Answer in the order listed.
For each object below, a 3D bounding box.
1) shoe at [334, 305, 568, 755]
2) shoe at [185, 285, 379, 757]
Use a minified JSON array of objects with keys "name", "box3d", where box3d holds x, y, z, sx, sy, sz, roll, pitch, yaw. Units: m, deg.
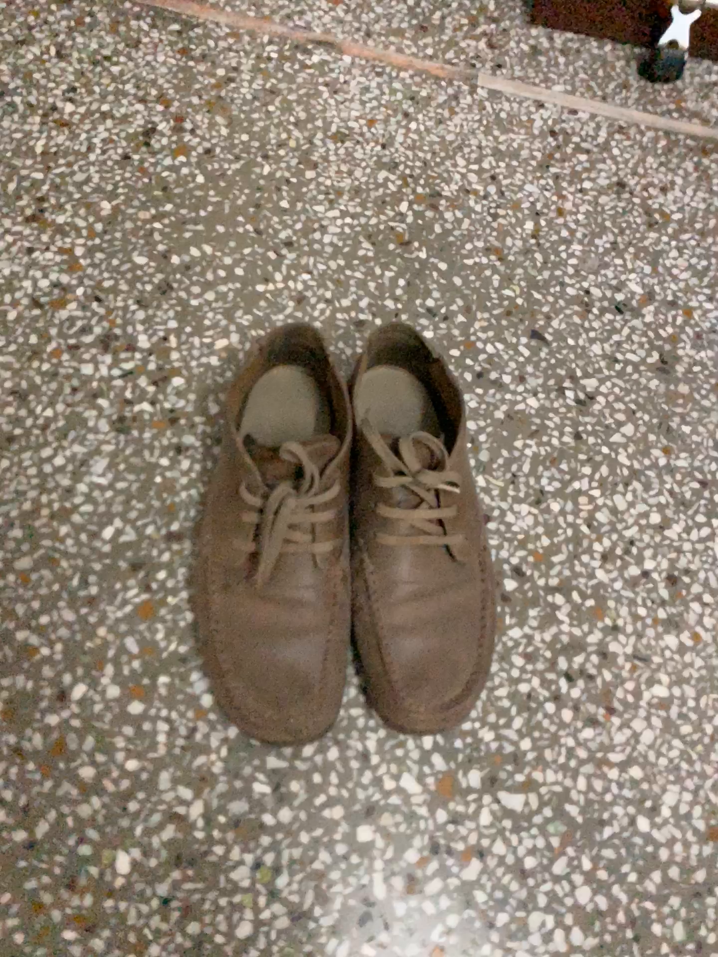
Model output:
[{"name":"shoe","box3d":[0.048,0.030,0.504,0.100,0.100,0.290,-2,67,-8]},{"name":"shoe","box3d":[-0.048,0.025,0.480,0.100,0.100,0.289,2,66,-7]}]
